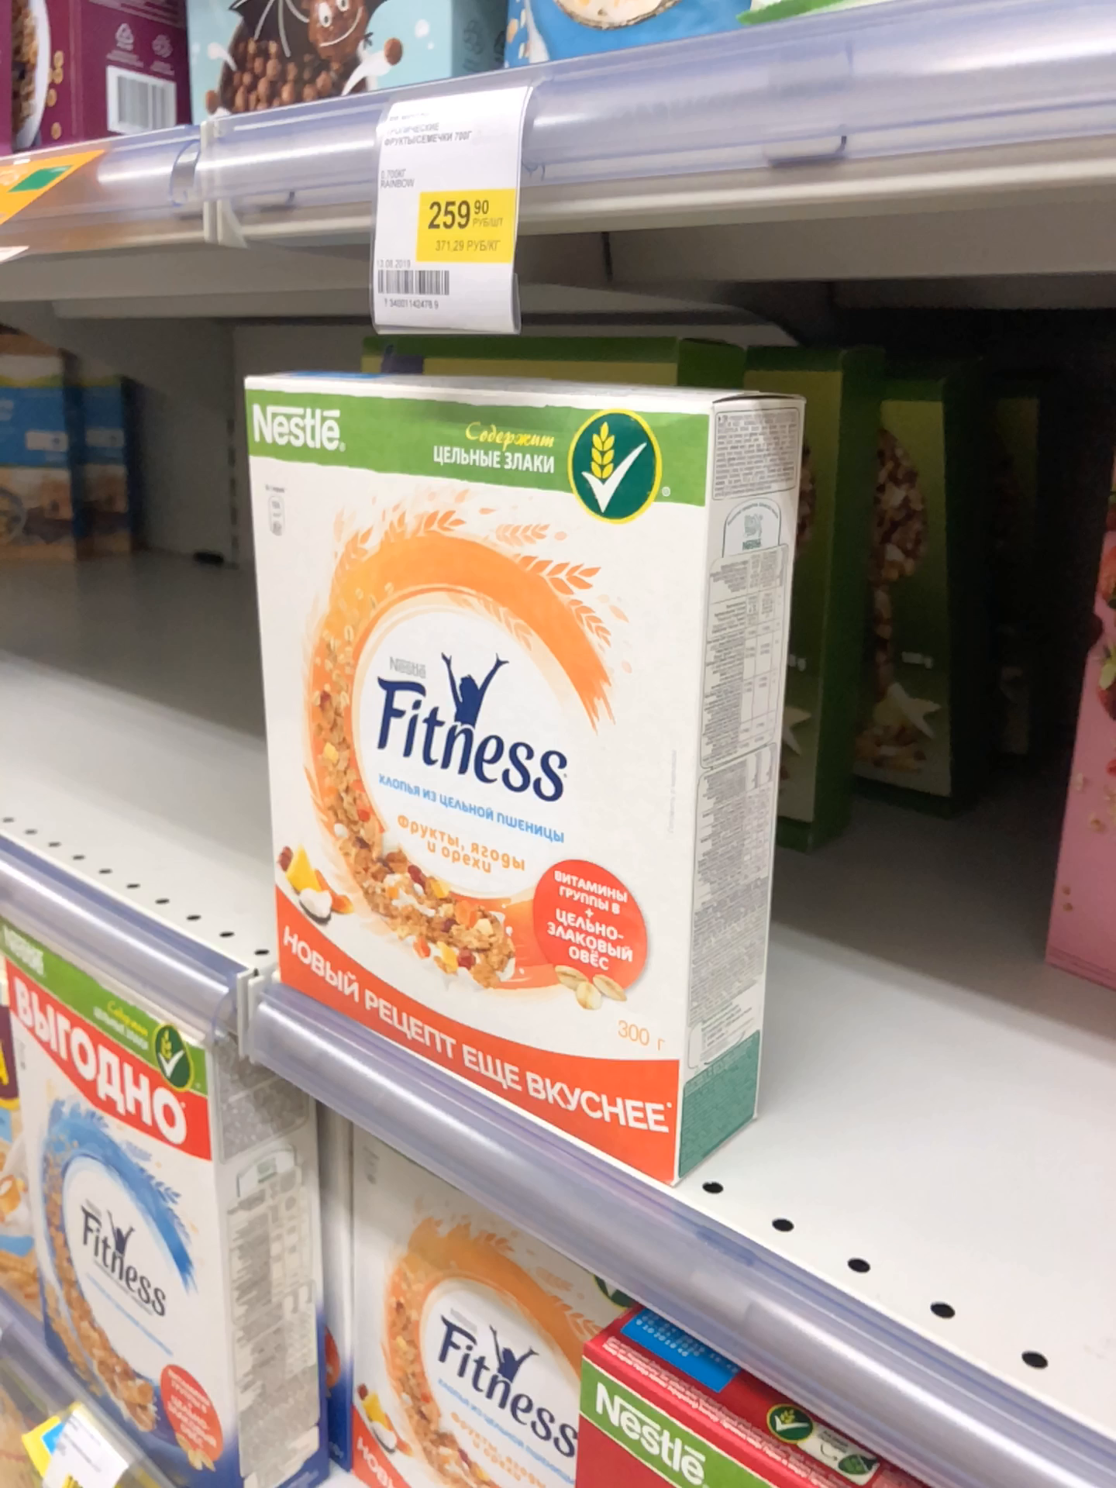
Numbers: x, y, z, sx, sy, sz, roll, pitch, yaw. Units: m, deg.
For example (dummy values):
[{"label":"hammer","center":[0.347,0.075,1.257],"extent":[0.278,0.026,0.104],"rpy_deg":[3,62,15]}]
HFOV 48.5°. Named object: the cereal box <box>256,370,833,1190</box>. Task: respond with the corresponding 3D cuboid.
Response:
[{"label":"cereal box","center":[-0.015,-0.002,0.412],"extent":[0.190,0.229,0.050],"rpy_deg":[15,23,38]}]
